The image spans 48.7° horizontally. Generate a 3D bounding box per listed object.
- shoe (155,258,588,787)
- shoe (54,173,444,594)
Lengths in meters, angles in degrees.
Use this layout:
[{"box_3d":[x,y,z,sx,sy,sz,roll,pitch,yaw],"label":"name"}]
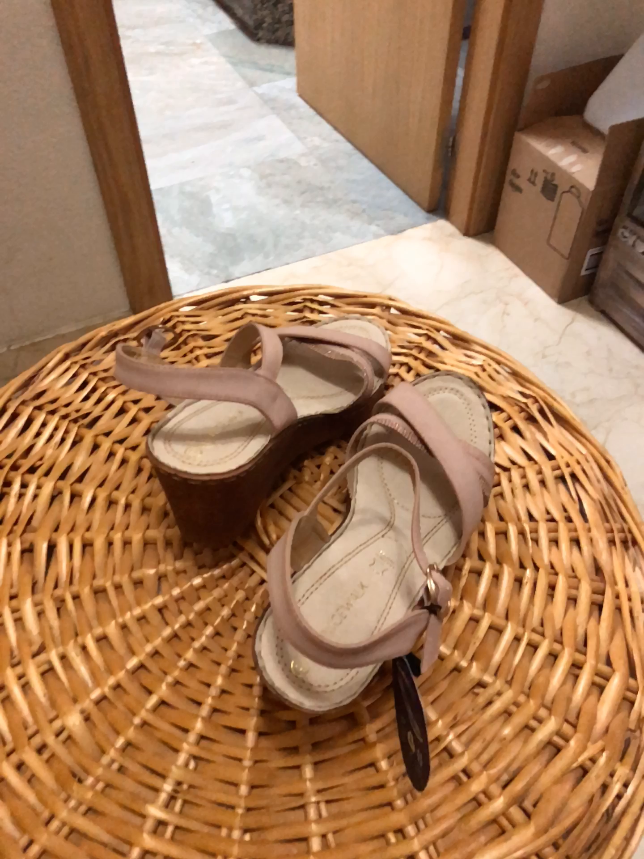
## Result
[{"box_3d":[0.041,0.033,0.390,0.100,0.104,0.261,25,54,20],"label":"shoe"},{"box_3d":[-0.027,-0.044,0.452,0.112,0.100,0.252,22,53,18],"label":"shoe"}]
